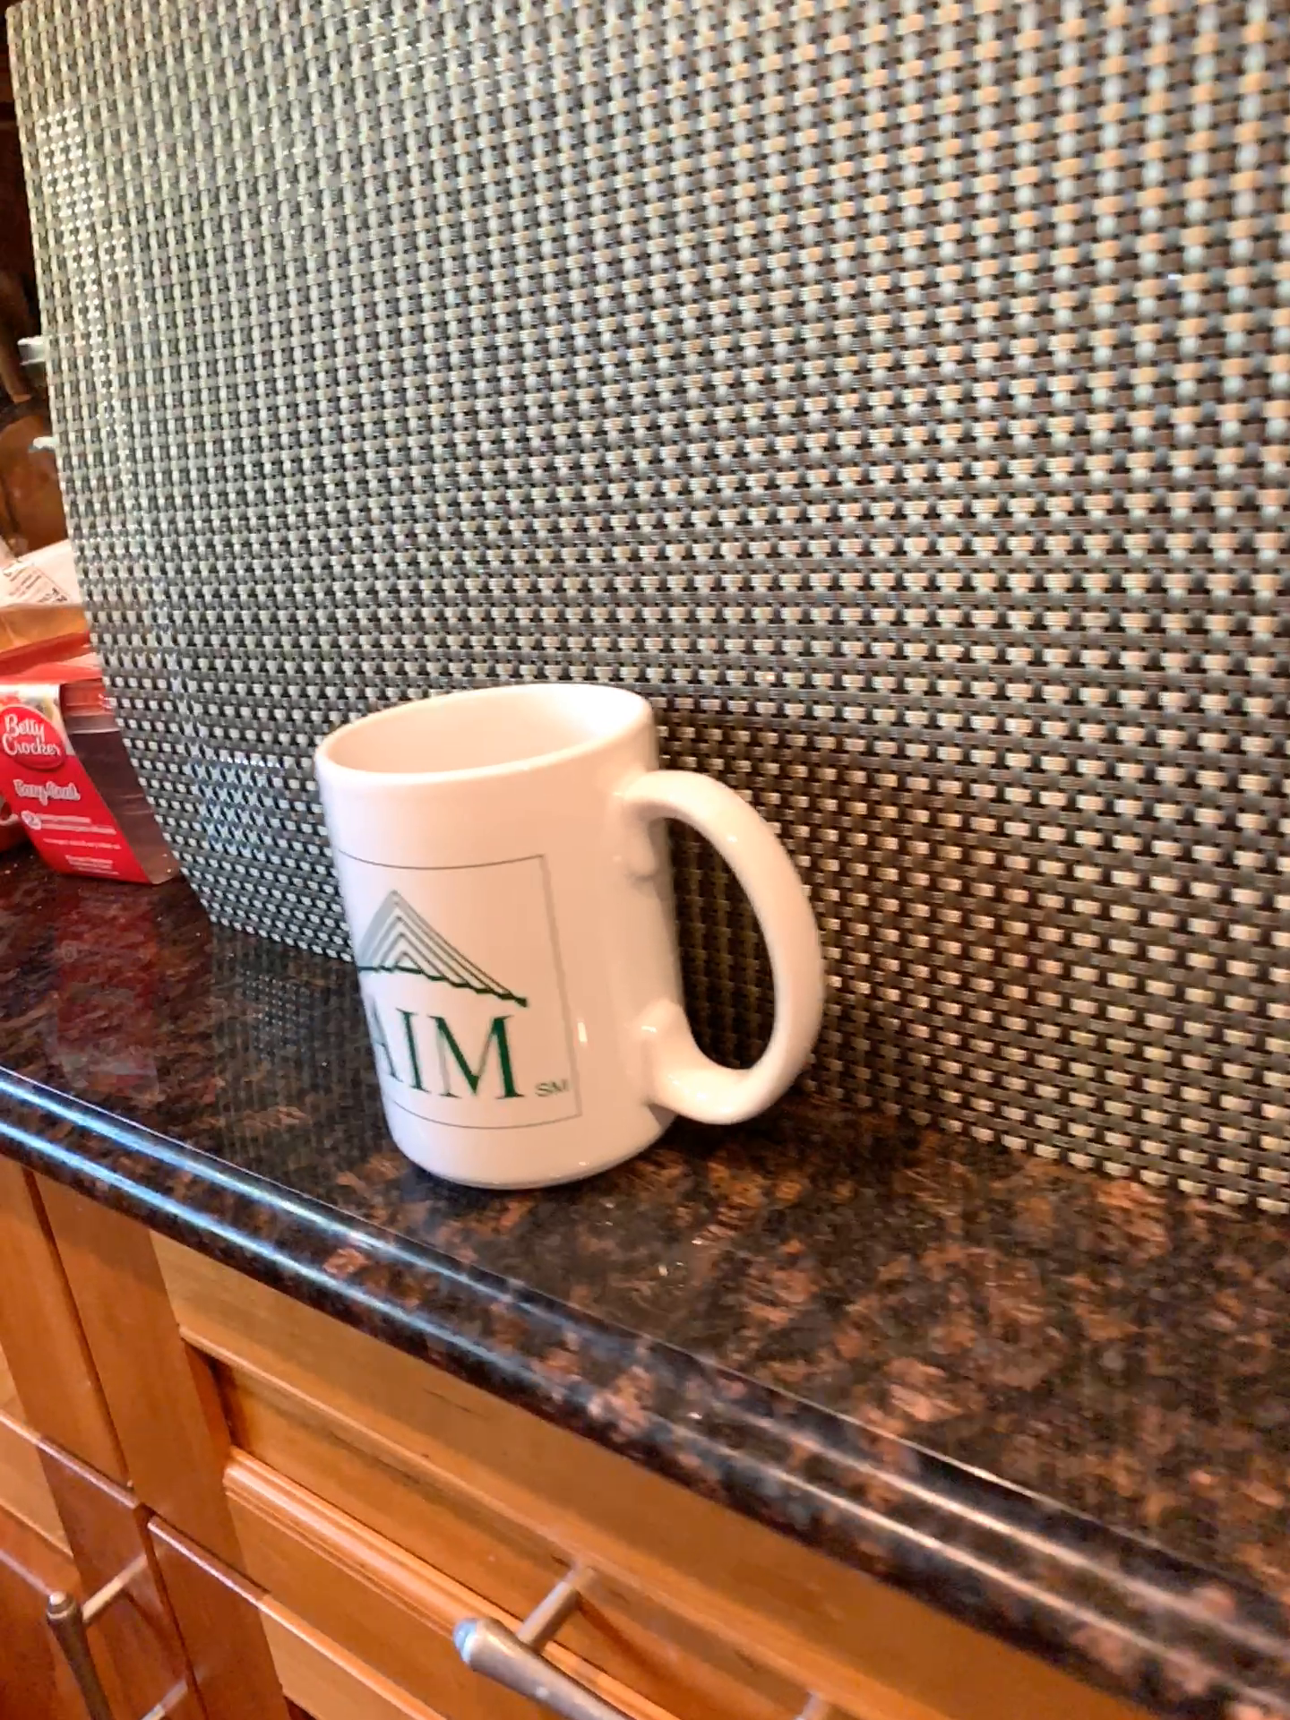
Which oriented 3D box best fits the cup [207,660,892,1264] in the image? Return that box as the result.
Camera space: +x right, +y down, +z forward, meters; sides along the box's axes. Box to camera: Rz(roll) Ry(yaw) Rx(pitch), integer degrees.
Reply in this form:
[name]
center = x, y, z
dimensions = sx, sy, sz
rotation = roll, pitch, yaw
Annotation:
[cup]
center = -0.017, 0.015, 0.333
dimensions = 0.130, 0.109, 0.090
rotation = 4, 23, 27
